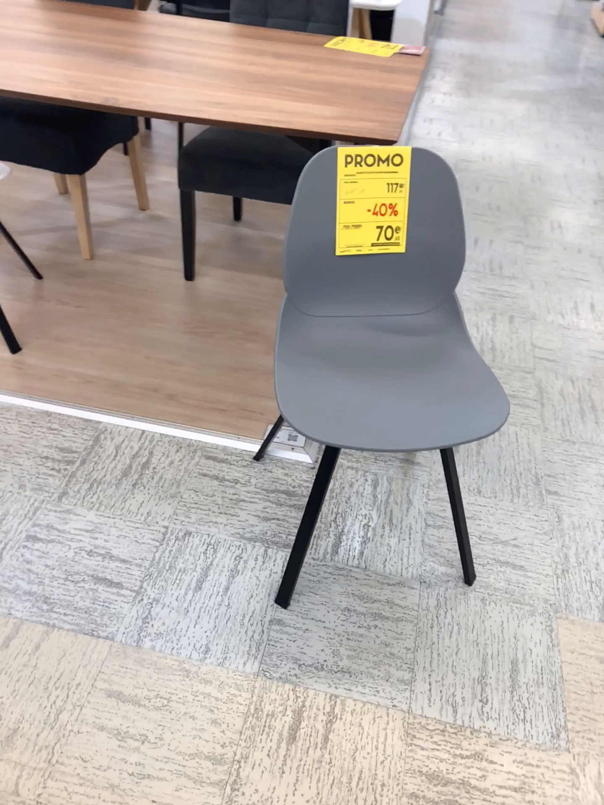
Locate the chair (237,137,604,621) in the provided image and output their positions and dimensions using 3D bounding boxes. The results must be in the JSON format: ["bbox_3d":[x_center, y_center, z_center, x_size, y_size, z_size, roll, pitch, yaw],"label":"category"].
[{"bbox_3d":[0.158,-0.056,1.349,0.511,0.755,0.583,-5,41,-11],"label":"chair"}]
